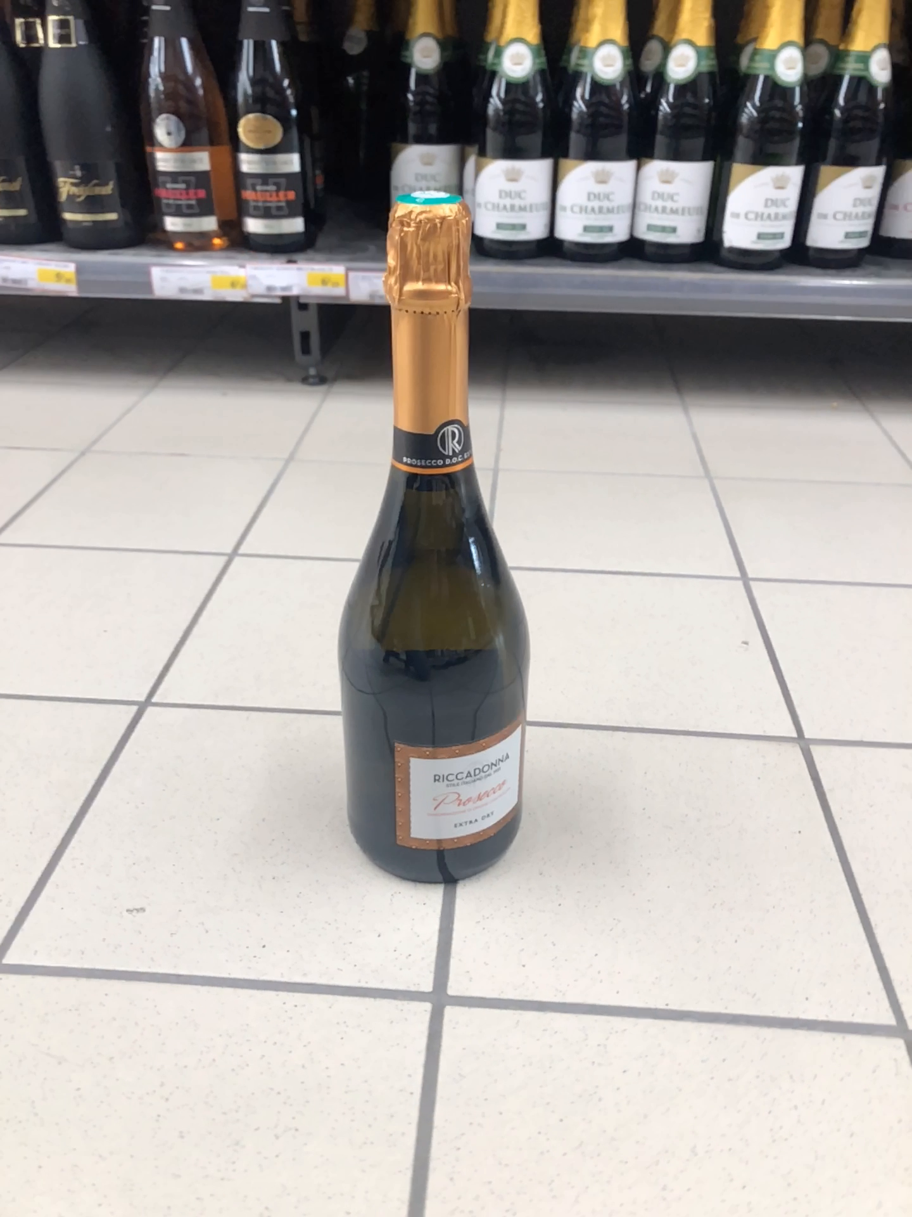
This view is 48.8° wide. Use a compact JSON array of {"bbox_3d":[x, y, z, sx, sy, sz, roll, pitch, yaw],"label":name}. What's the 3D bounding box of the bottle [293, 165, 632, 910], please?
[{"bbox_3d":[-0.002,-0.025,0.464,0.100,0.318,0.090,-14,32,-24],"label":"bottle"}]
